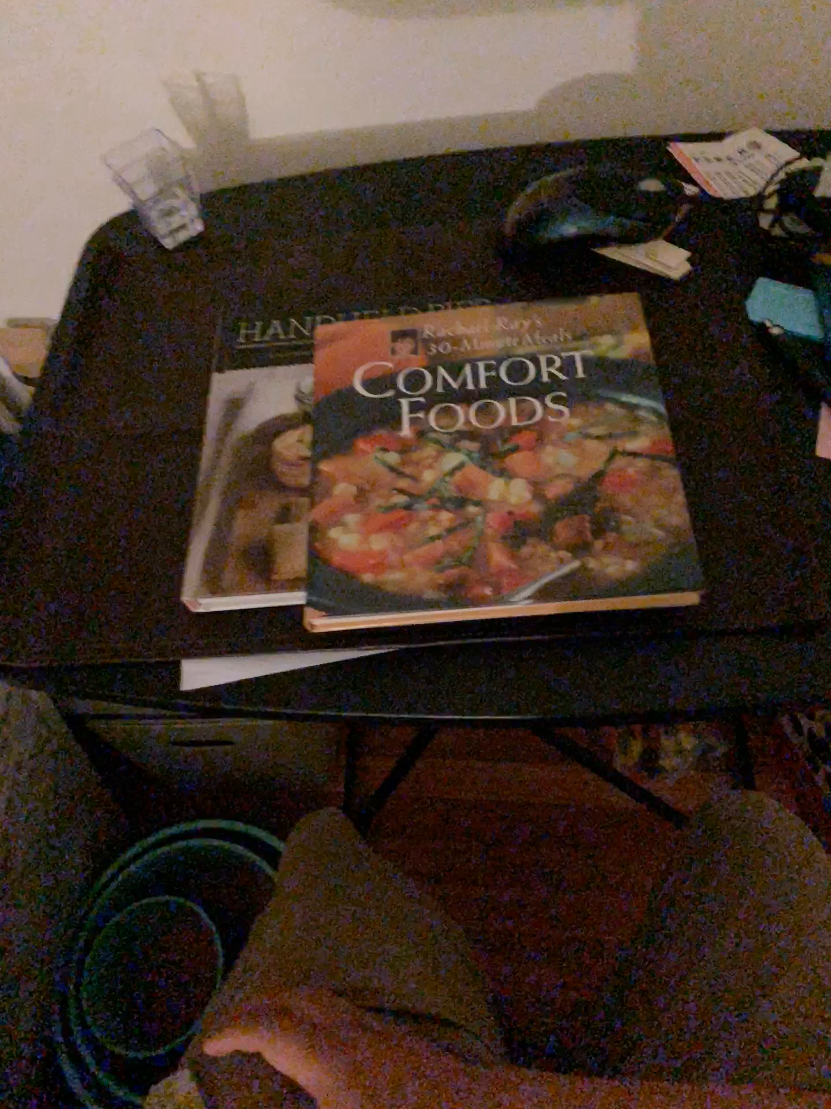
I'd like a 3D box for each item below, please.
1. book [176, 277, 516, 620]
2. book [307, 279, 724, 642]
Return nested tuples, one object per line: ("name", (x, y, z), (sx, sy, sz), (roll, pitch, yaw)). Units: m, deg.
("book", (-0.040, -0.071, 0.510), (0.180, 0.020, 0.221), (-5, 59, 6))
("book", (0.043, -0.060, 0.472), (0.200, 0.020, 0.211), (-6, 59, 5))
